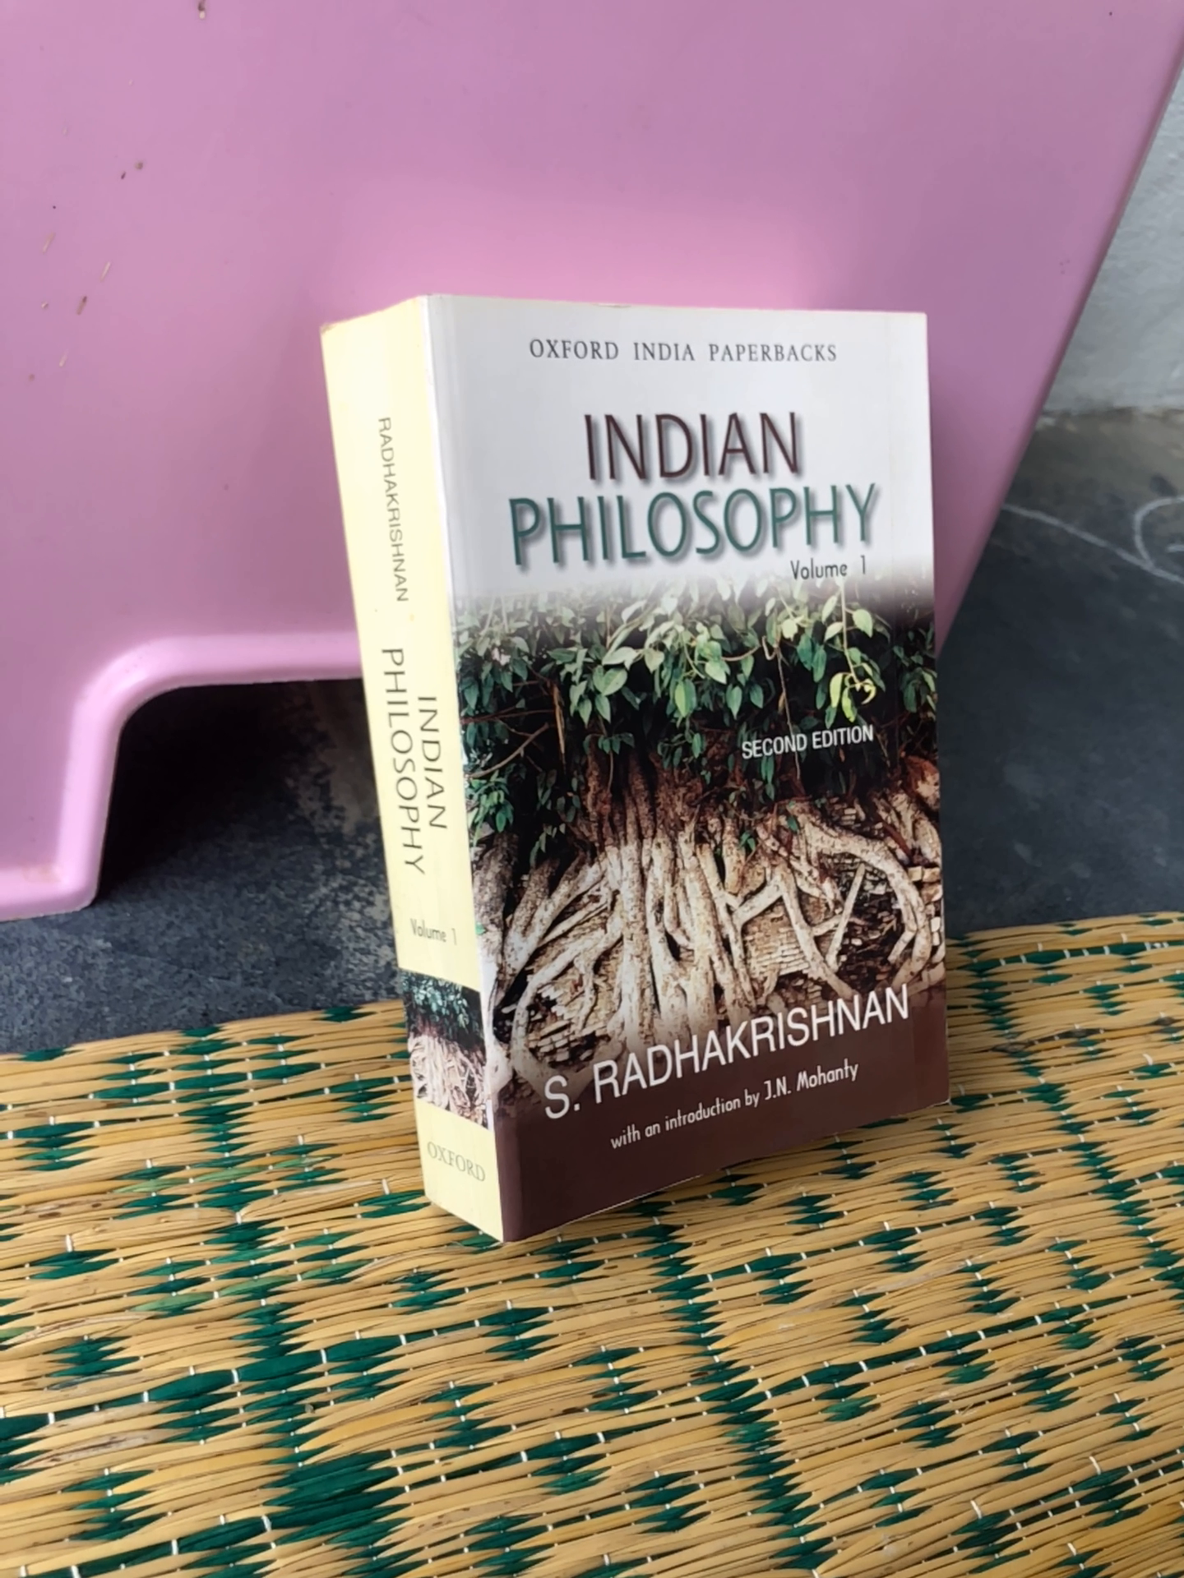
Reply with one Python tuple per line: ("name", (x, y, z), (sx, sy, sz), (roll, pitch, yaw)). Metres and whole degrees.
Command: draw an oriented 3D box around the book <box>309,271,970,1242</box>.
("book", (0.016, -0.014, 0.349), (0.141, 0.210, 0.070), (-8, 5, -30))
